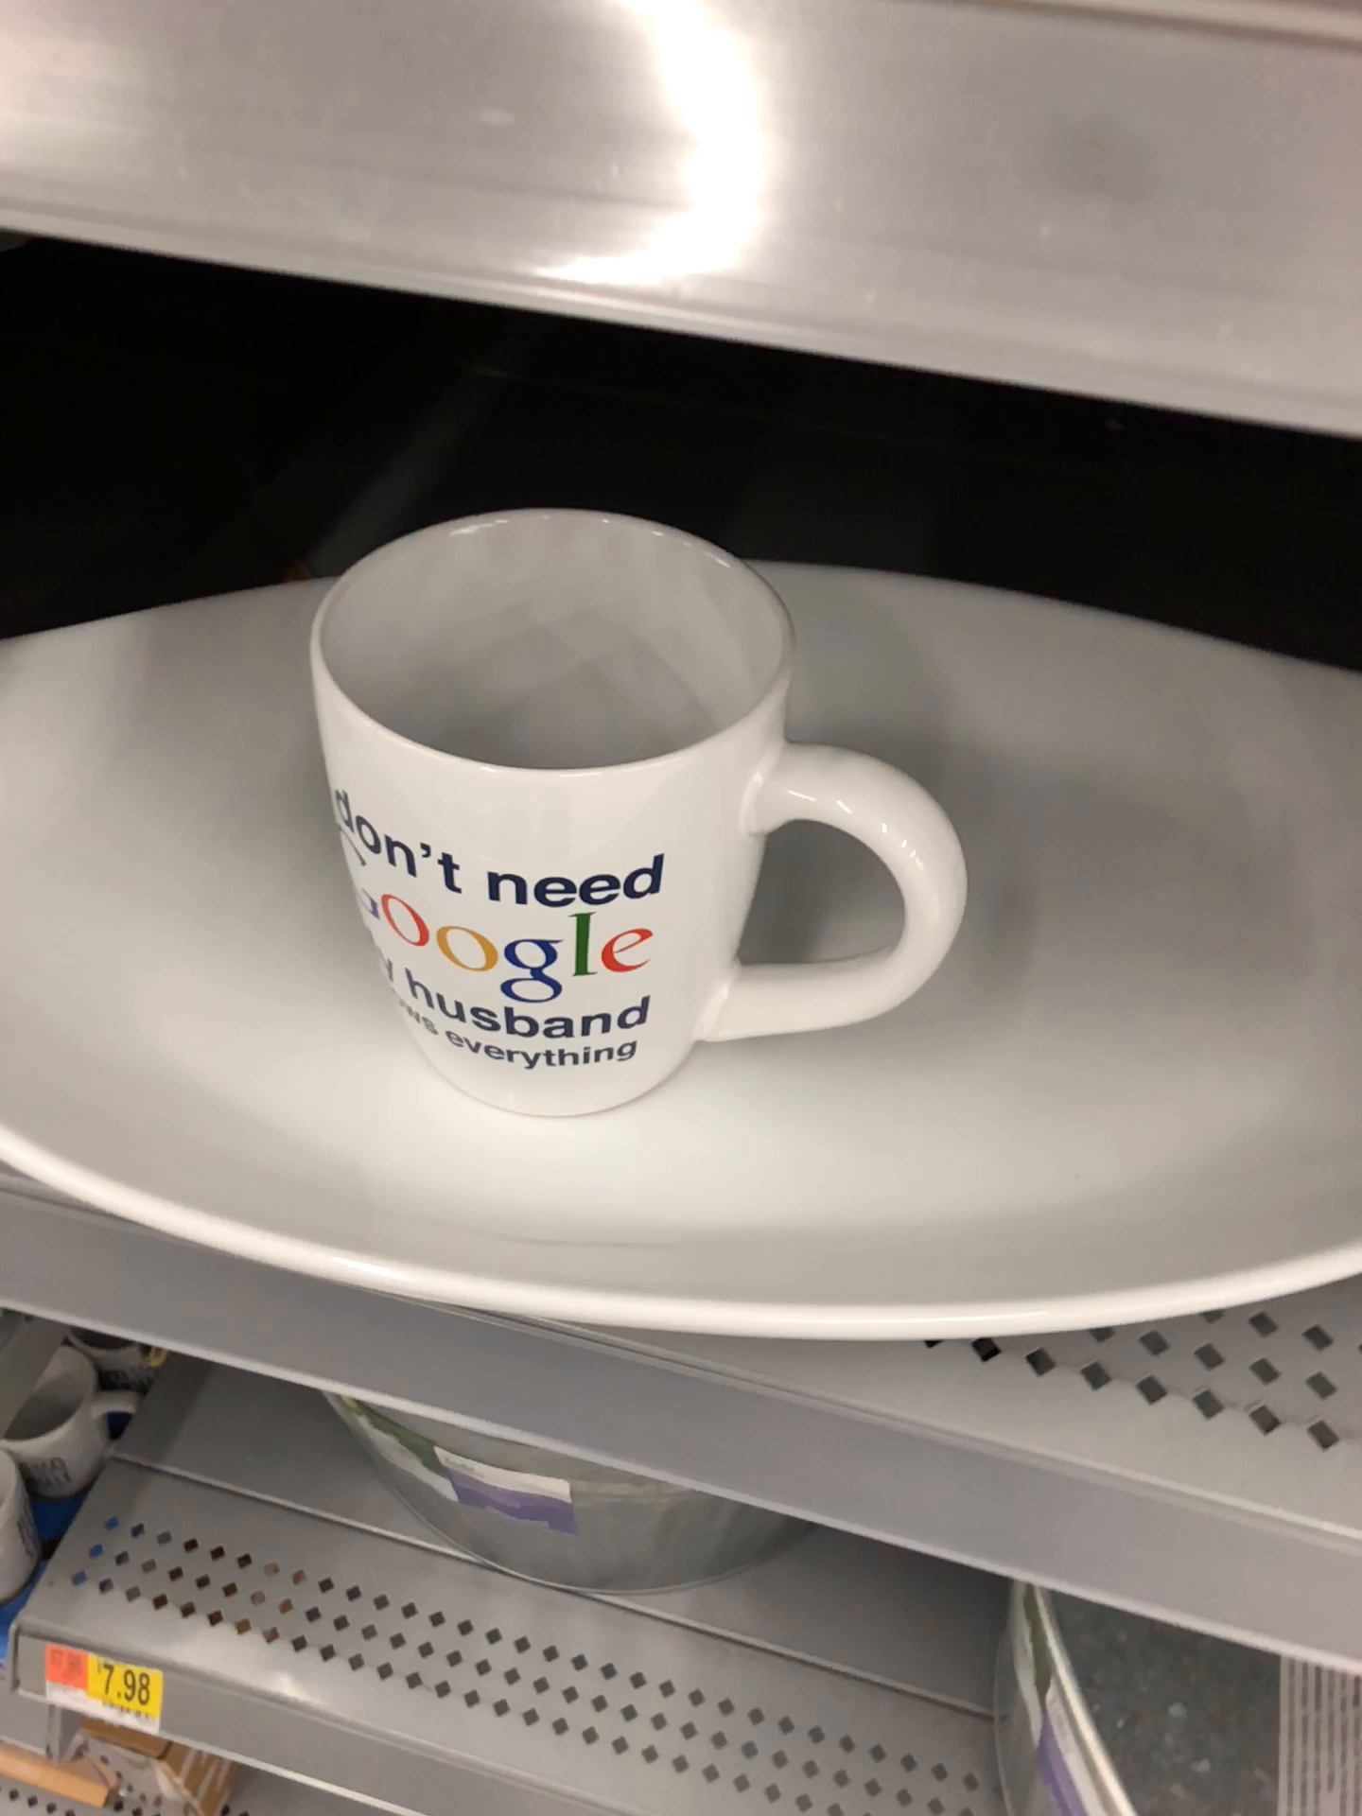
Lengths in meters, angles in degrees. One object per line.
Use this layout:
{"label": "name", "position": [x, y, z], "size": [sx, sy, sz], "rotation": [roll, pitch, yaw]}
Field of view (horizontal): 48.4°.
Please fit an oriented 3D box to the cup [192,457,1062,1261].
{"label": "cup", "position": [-0.010, -0.016, 0.358], "size": [0.154, 0.108, 0.104], "rotation": [19, 46, 14]}
